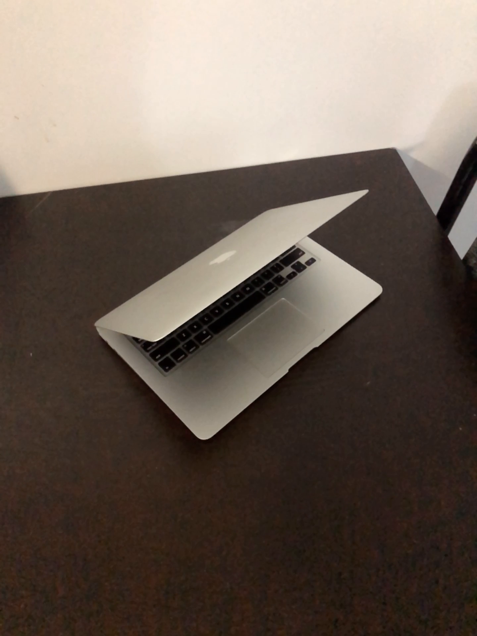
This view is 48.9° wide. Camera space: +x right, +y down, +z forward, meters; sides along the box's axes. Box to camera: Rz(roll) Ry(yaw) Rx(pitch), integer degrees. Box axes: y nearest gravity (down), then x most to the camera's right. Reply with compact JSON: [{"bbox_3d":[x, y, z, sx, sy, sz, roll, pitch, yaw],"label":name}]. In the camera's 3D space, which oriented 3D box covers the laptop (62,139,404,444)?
[{"bbox_3d":[0.001,-0.055,0.654,0.331,0.131,0.226,-36,57,-24],"label":"laptop"}]
